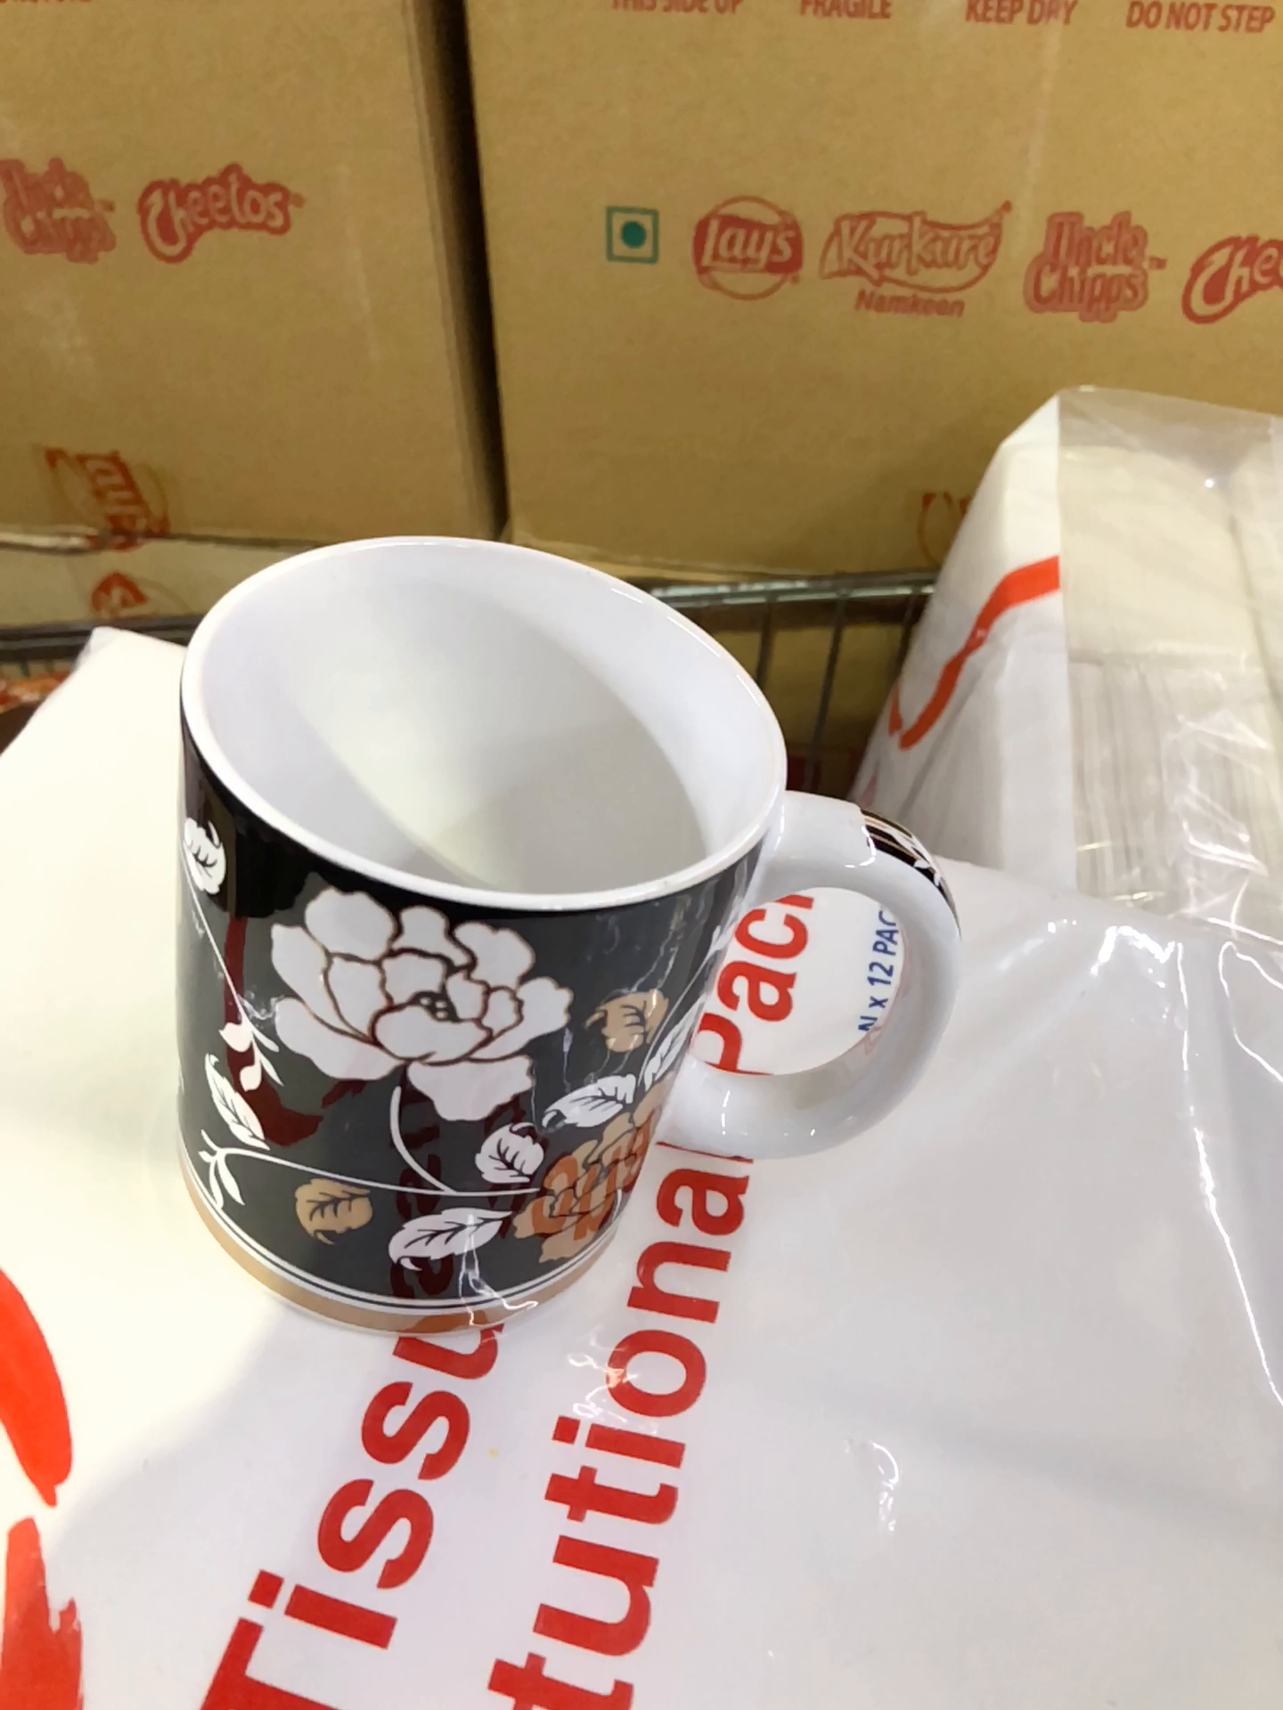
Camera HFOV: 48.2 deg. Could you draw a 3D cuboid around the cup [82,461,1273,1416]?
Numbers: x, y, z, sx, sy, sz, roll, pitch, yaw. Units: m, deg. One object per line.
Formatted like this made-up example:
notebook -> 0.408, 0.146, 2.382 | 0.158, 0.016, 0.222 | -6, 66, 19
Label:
cup -> -0.004, 0.018, 0.214 | 0.130, 0.099, 0.081 | 8, 43, -11
